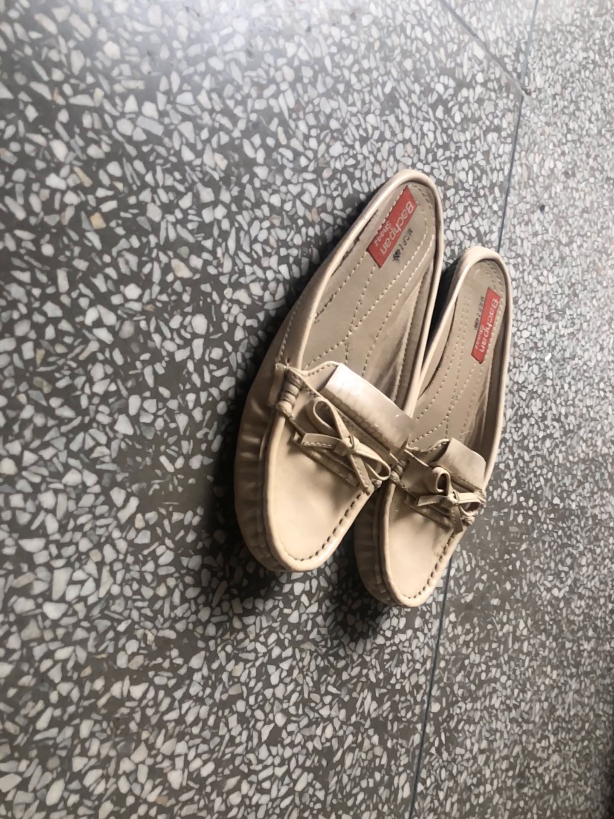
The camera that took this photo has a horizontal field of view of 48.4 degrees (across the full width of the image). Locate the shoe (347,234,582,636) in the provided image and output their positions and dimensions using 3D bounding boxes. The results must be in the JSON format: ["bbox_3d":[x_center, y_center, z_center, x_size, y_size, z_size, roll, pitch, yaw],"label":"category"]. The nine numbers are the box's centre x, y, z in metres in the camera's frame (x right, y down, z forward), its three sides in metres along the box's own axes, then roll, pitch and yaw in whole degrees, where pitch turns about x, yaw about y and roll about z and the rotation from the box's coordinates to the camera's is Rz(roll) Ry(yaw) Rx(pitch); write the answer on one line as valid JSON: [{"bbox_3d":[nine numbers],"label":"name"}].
[{"bbox_3d":[0.097,0.013,0.394,0.080,0.040,0.210,33,72,-41],"label":"shoe"}]

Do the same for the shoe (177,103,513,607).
[{"bbox_3d":[0.030,-0.028,0.334,0.091,0.040,0.220,38,69,-40],"label":"shoe"}]
